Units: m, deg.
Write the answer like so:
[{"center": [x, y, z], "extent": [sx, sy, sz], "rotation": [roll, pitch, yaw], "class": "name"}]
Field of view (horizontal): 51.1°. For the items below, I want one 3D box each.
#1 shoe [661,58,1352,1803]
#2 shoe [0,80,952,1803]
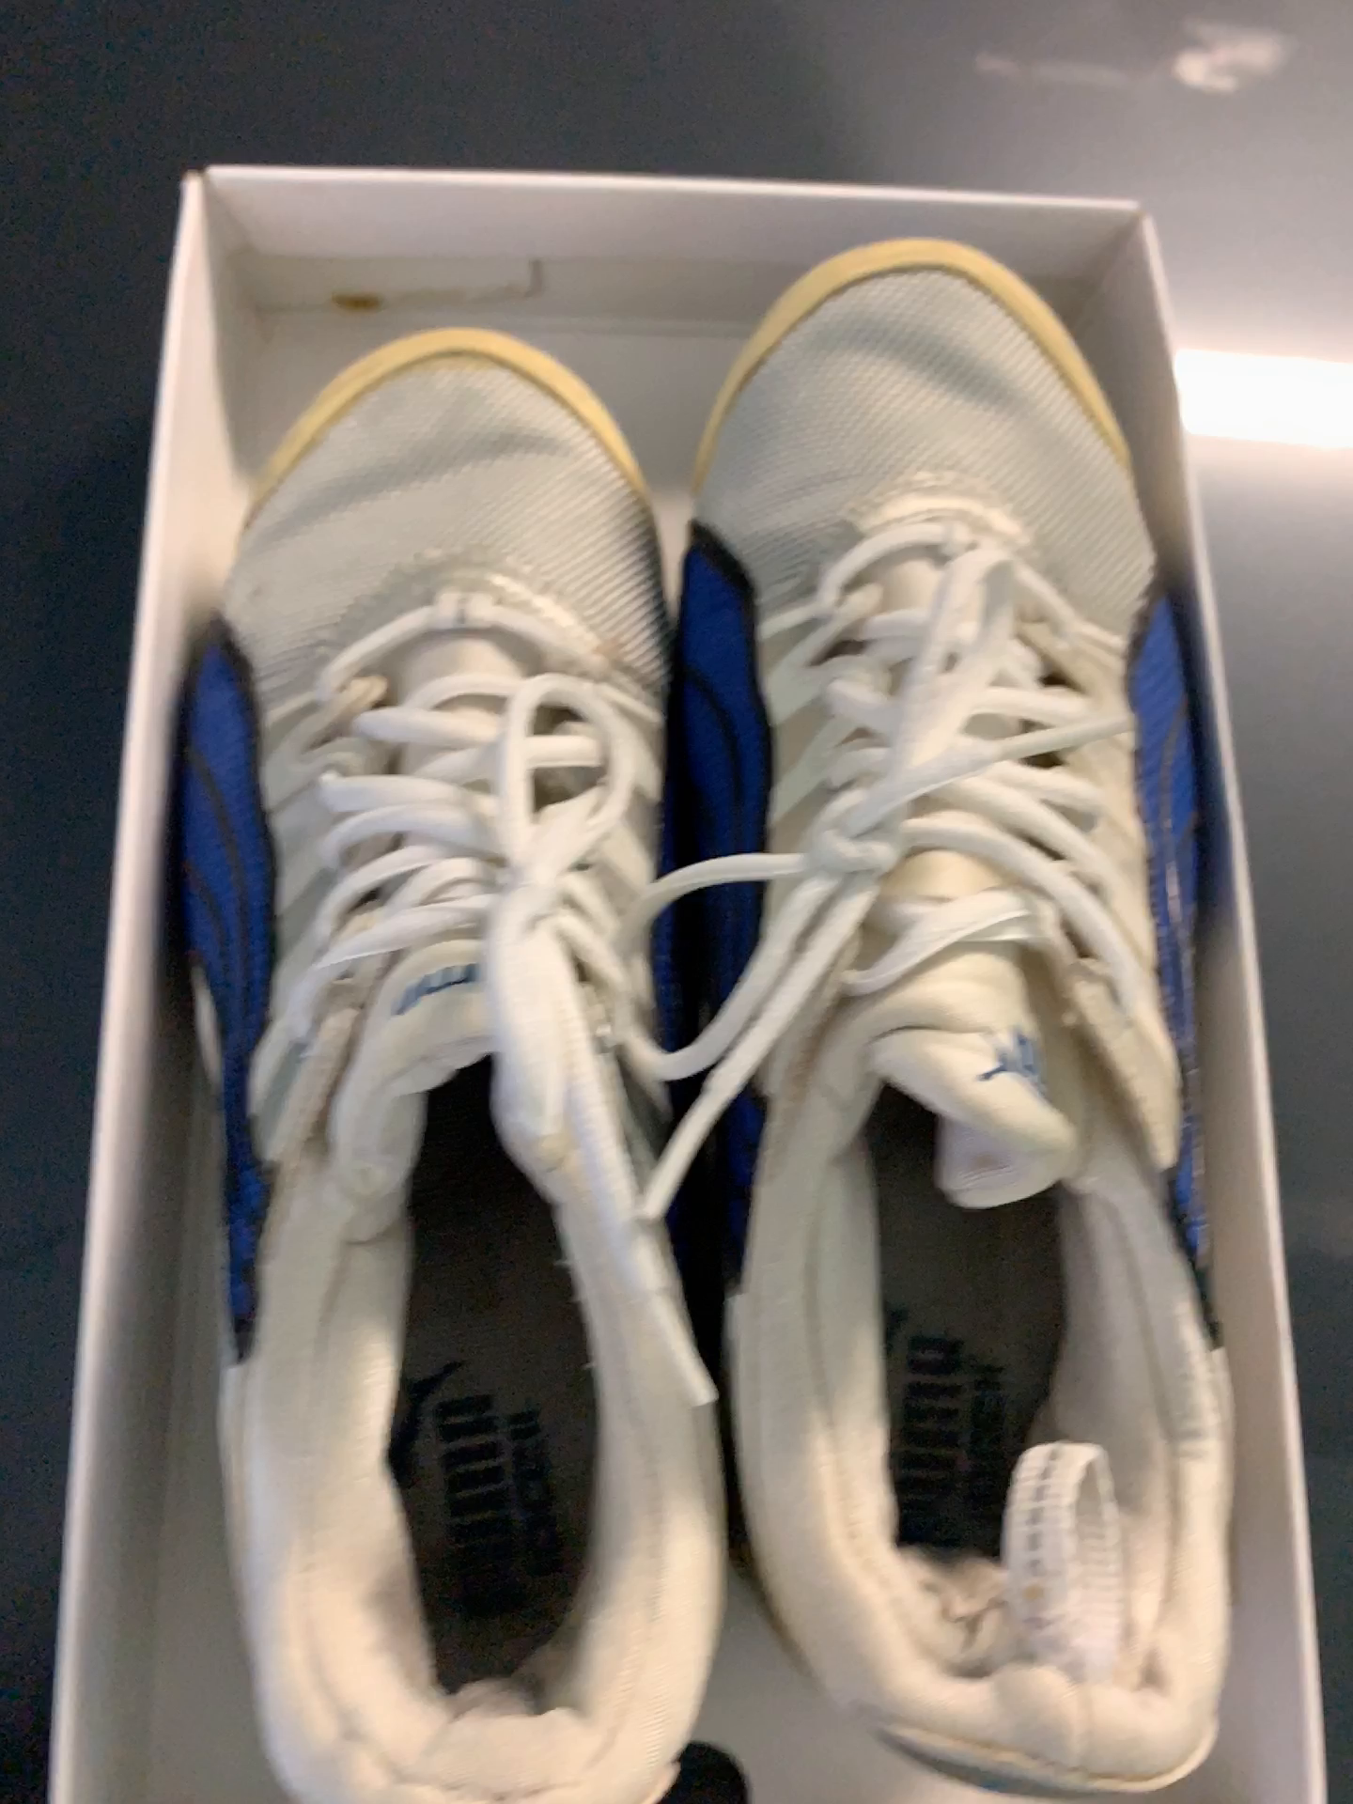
[{"center": [0.055, -0.006, 0.248], "extent": [0.110, 0.089, 0.282], "rotation": [1, 67, -3], "class": "shoe"}, {"center": [-0.037, 0.000, 0.242], "extent": [0.110, 0.089, 0.282], "rotation": [-2, 68, -5], "class": "shoe"}]
